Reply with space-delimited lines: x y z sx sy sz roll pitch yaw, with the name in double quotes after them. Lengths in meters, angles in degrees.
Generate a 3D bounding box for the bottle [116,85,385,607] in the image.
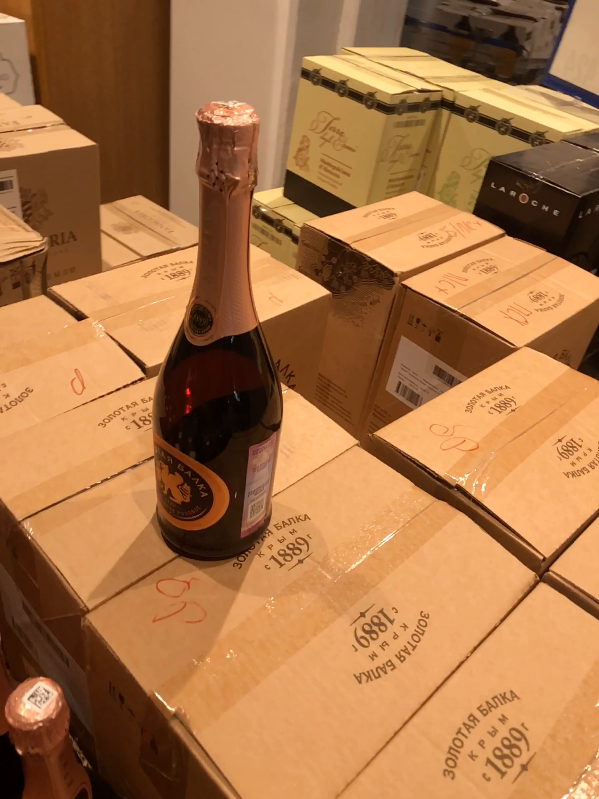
-0.043 -0.019 0.420 0.100 0.308 0.090 33 43 29 "bottle"
